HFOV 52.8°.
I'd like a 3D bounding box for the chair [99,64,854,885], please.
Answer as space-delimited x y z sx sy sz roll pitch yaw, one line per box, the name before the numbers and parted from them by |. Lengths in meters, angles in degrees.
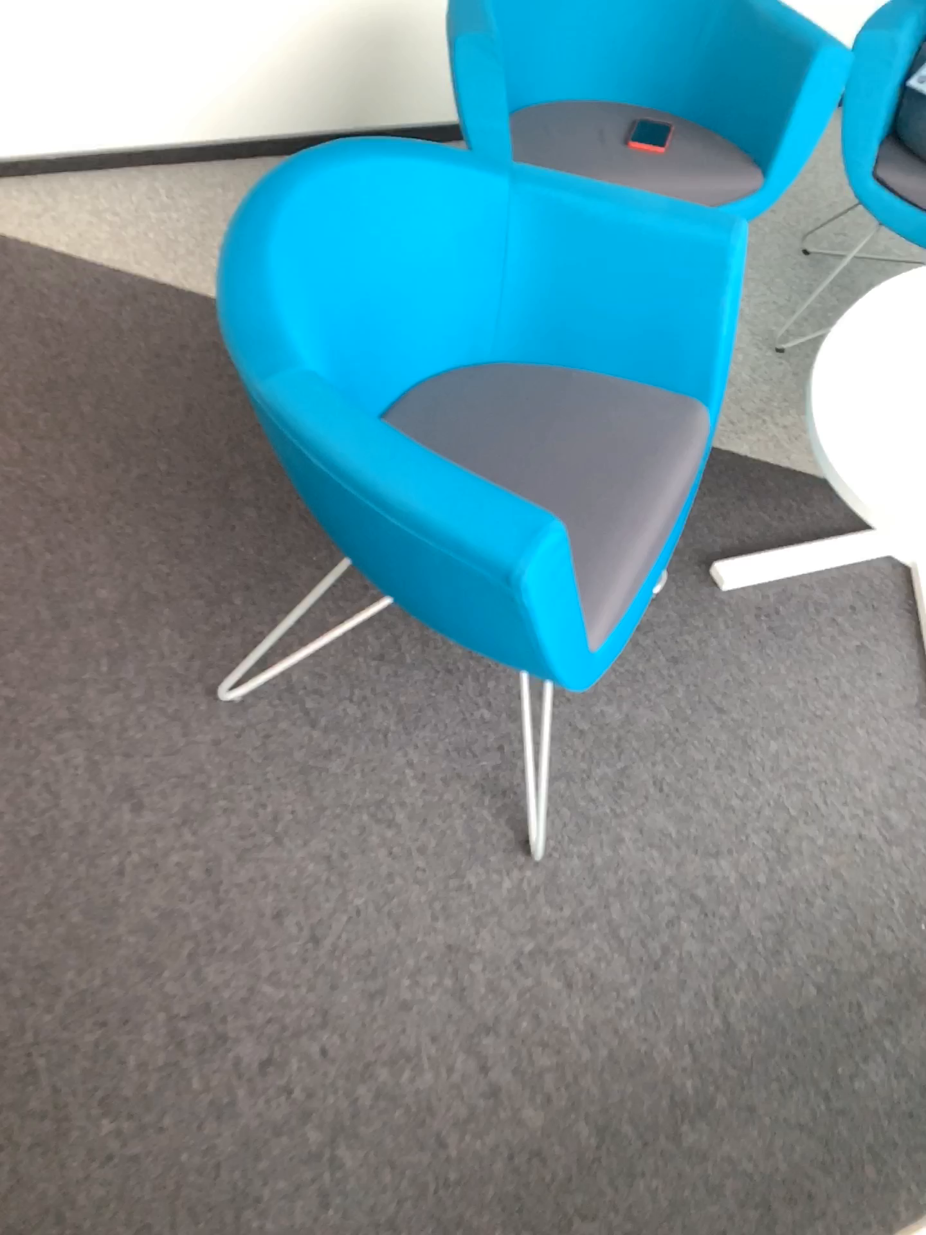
chair | 0.036 -0.208 1.375 0.640 0.757 0.713 24 51 12
